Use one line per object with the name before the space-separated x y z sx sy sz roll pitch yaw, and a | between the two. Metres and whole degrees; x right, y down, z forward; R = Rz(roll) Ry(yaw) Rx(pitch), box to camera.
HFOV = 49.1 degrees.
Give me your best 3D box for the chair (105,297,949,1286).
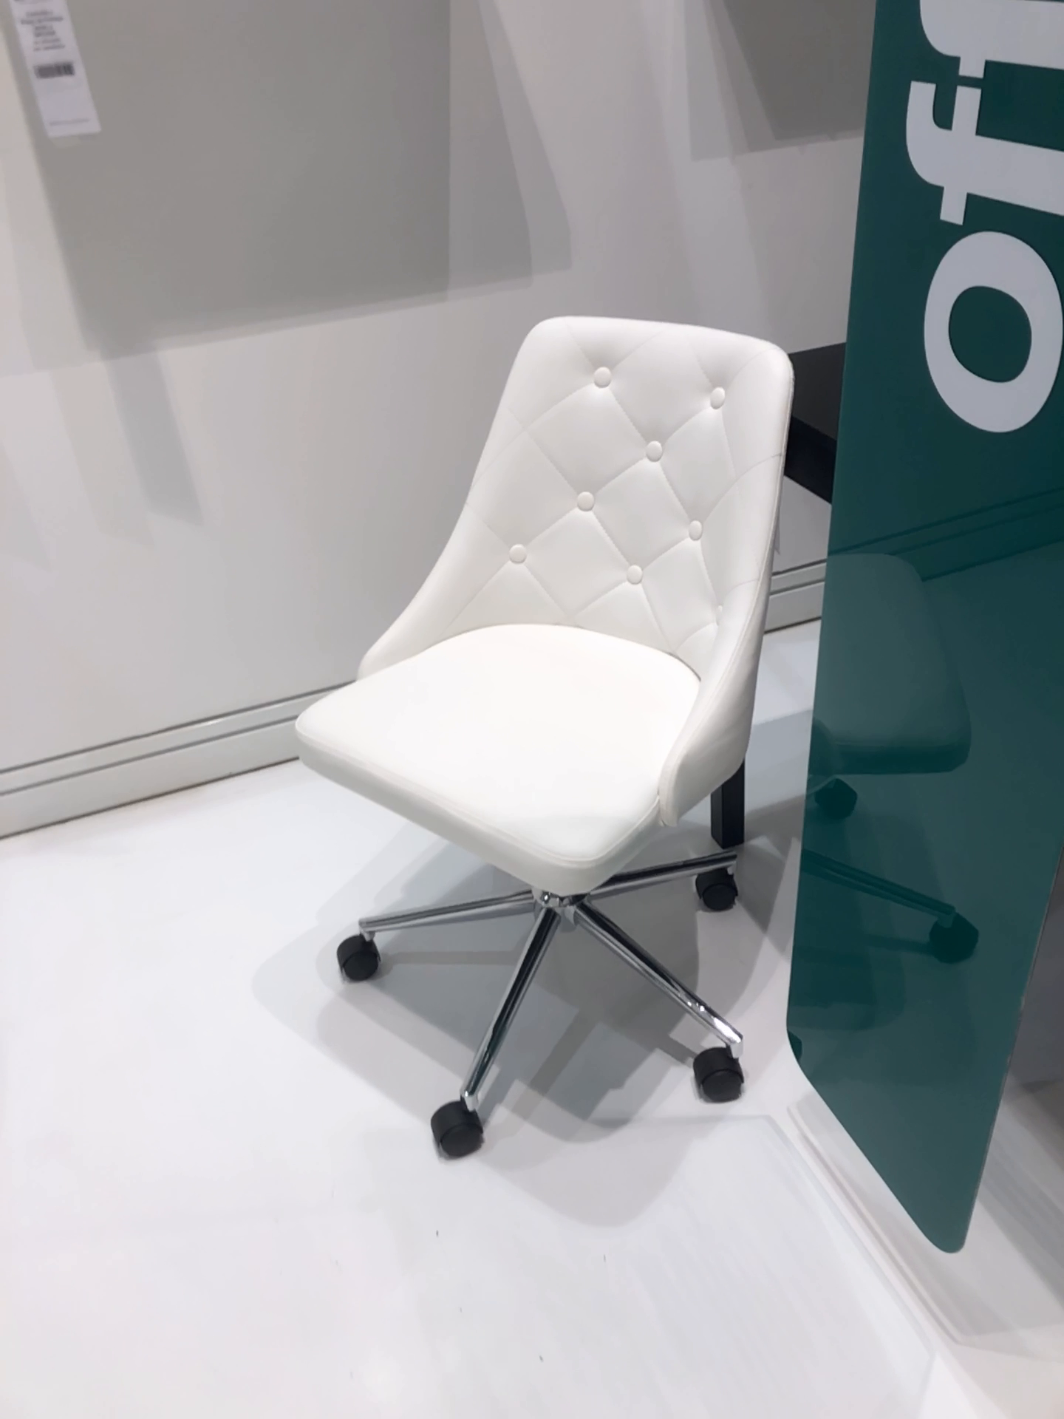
chair | 0.033 0.041 1.434 0.602 0.853 0.643 23 42 36
